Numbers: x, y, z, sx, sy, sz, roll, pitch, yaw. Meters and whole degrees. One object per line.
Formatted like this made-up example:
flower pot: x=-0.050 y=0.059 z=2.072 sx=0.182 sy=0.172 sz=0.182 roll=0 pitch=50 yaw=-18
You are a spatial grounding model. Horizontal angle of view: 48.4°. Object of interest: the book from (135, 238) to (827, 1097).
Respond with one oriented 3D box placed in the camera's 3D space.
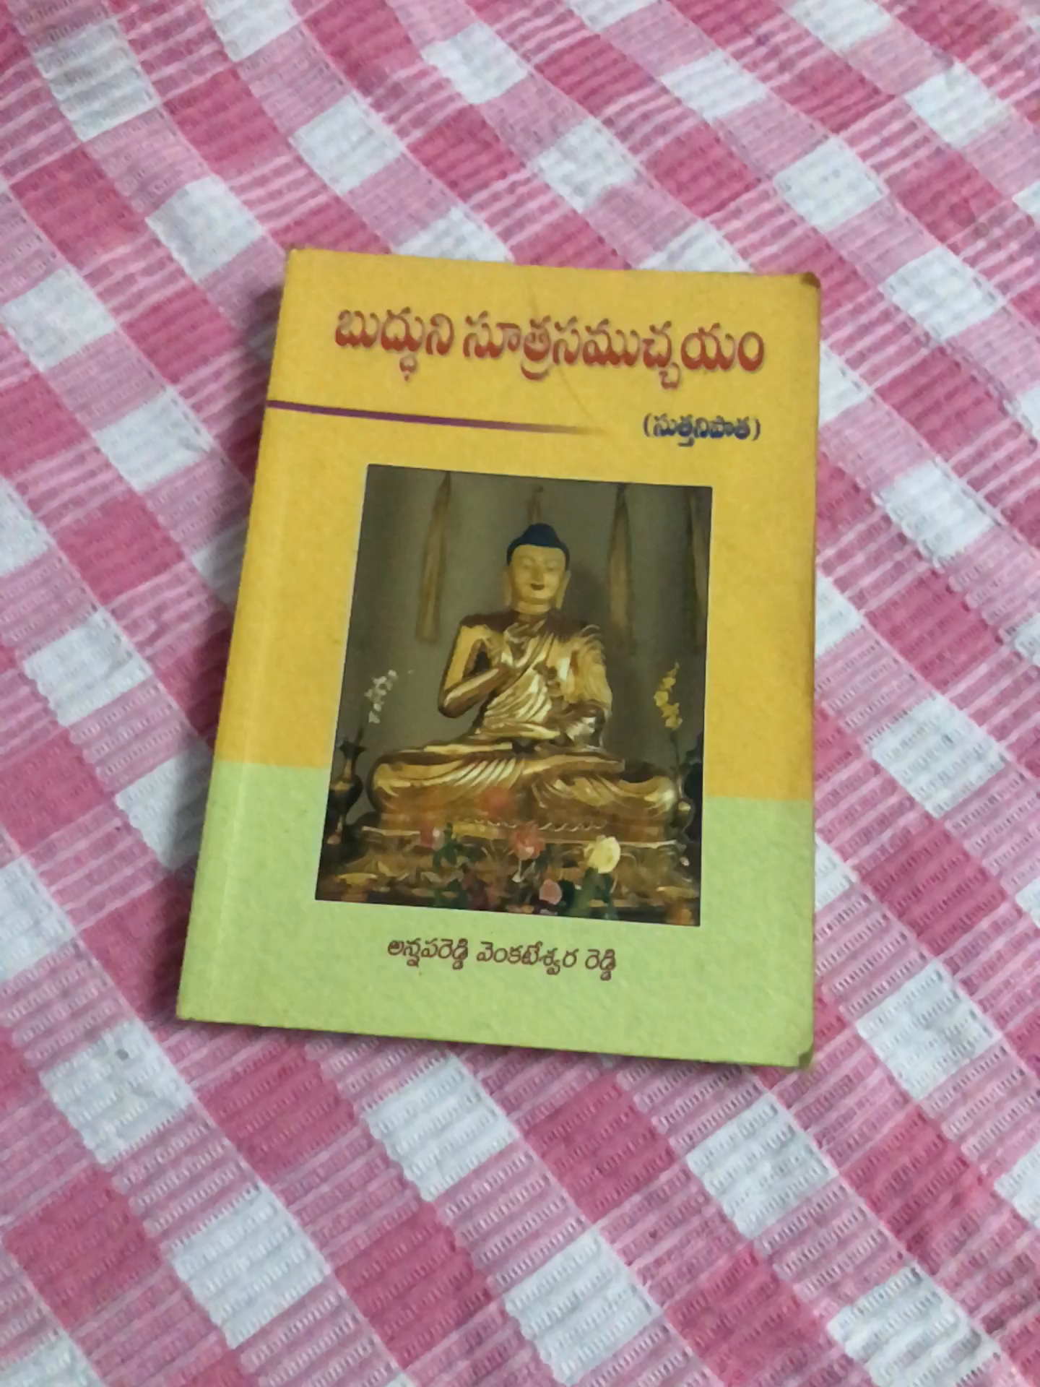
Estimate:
book: x=-0.001 y=-0.014 z=0.296 sx=0.150 sy=0.030 sz=0.210 roll=4 pitch=73 yaw=0
